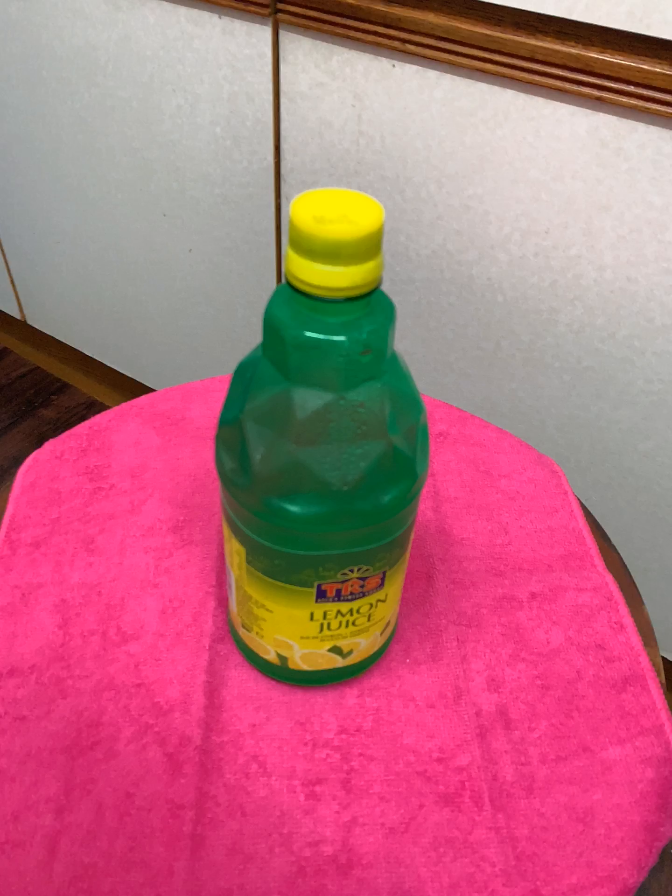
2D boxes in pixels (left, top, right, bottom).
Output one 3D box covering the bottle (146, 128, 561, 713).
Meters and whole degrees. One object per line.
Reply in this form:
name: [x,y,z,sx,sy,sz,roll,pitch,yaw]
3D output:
bottle: [-0.005,0.004,0.289,0.100,0.228,0.091,-13,48,-16]
